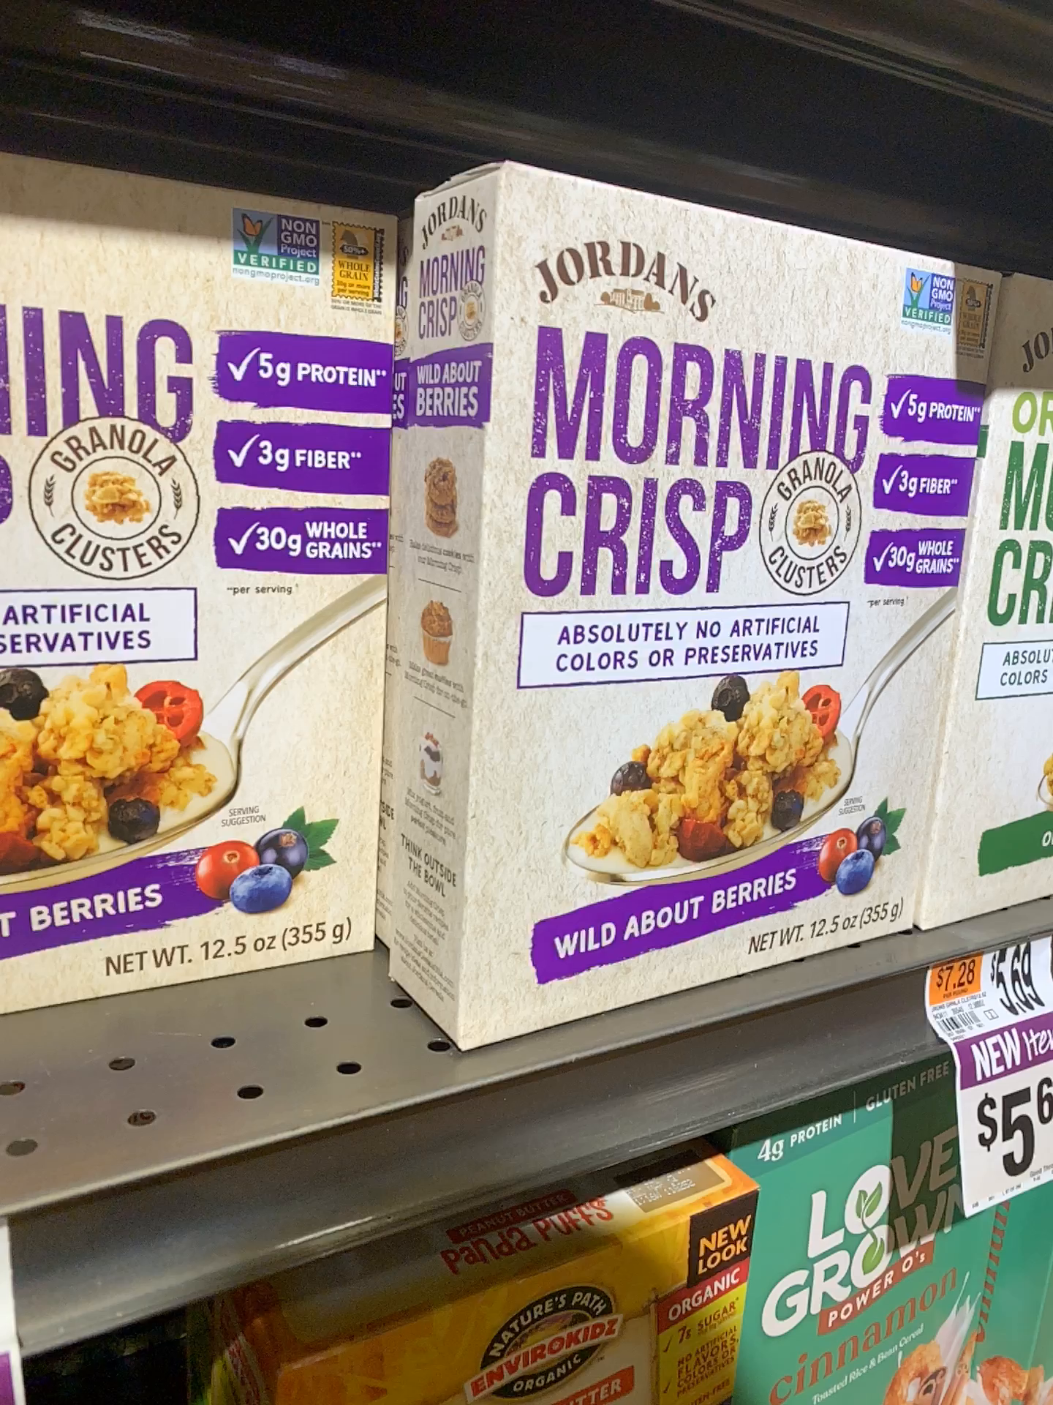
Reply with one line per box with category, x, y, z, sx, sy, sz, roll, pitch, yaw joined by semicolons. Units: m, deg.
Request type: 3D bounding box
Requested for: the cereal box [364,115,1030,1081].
cereal box;0.050;-0.027;0.317;0.180;0.219;0.060;-5;14;-32
